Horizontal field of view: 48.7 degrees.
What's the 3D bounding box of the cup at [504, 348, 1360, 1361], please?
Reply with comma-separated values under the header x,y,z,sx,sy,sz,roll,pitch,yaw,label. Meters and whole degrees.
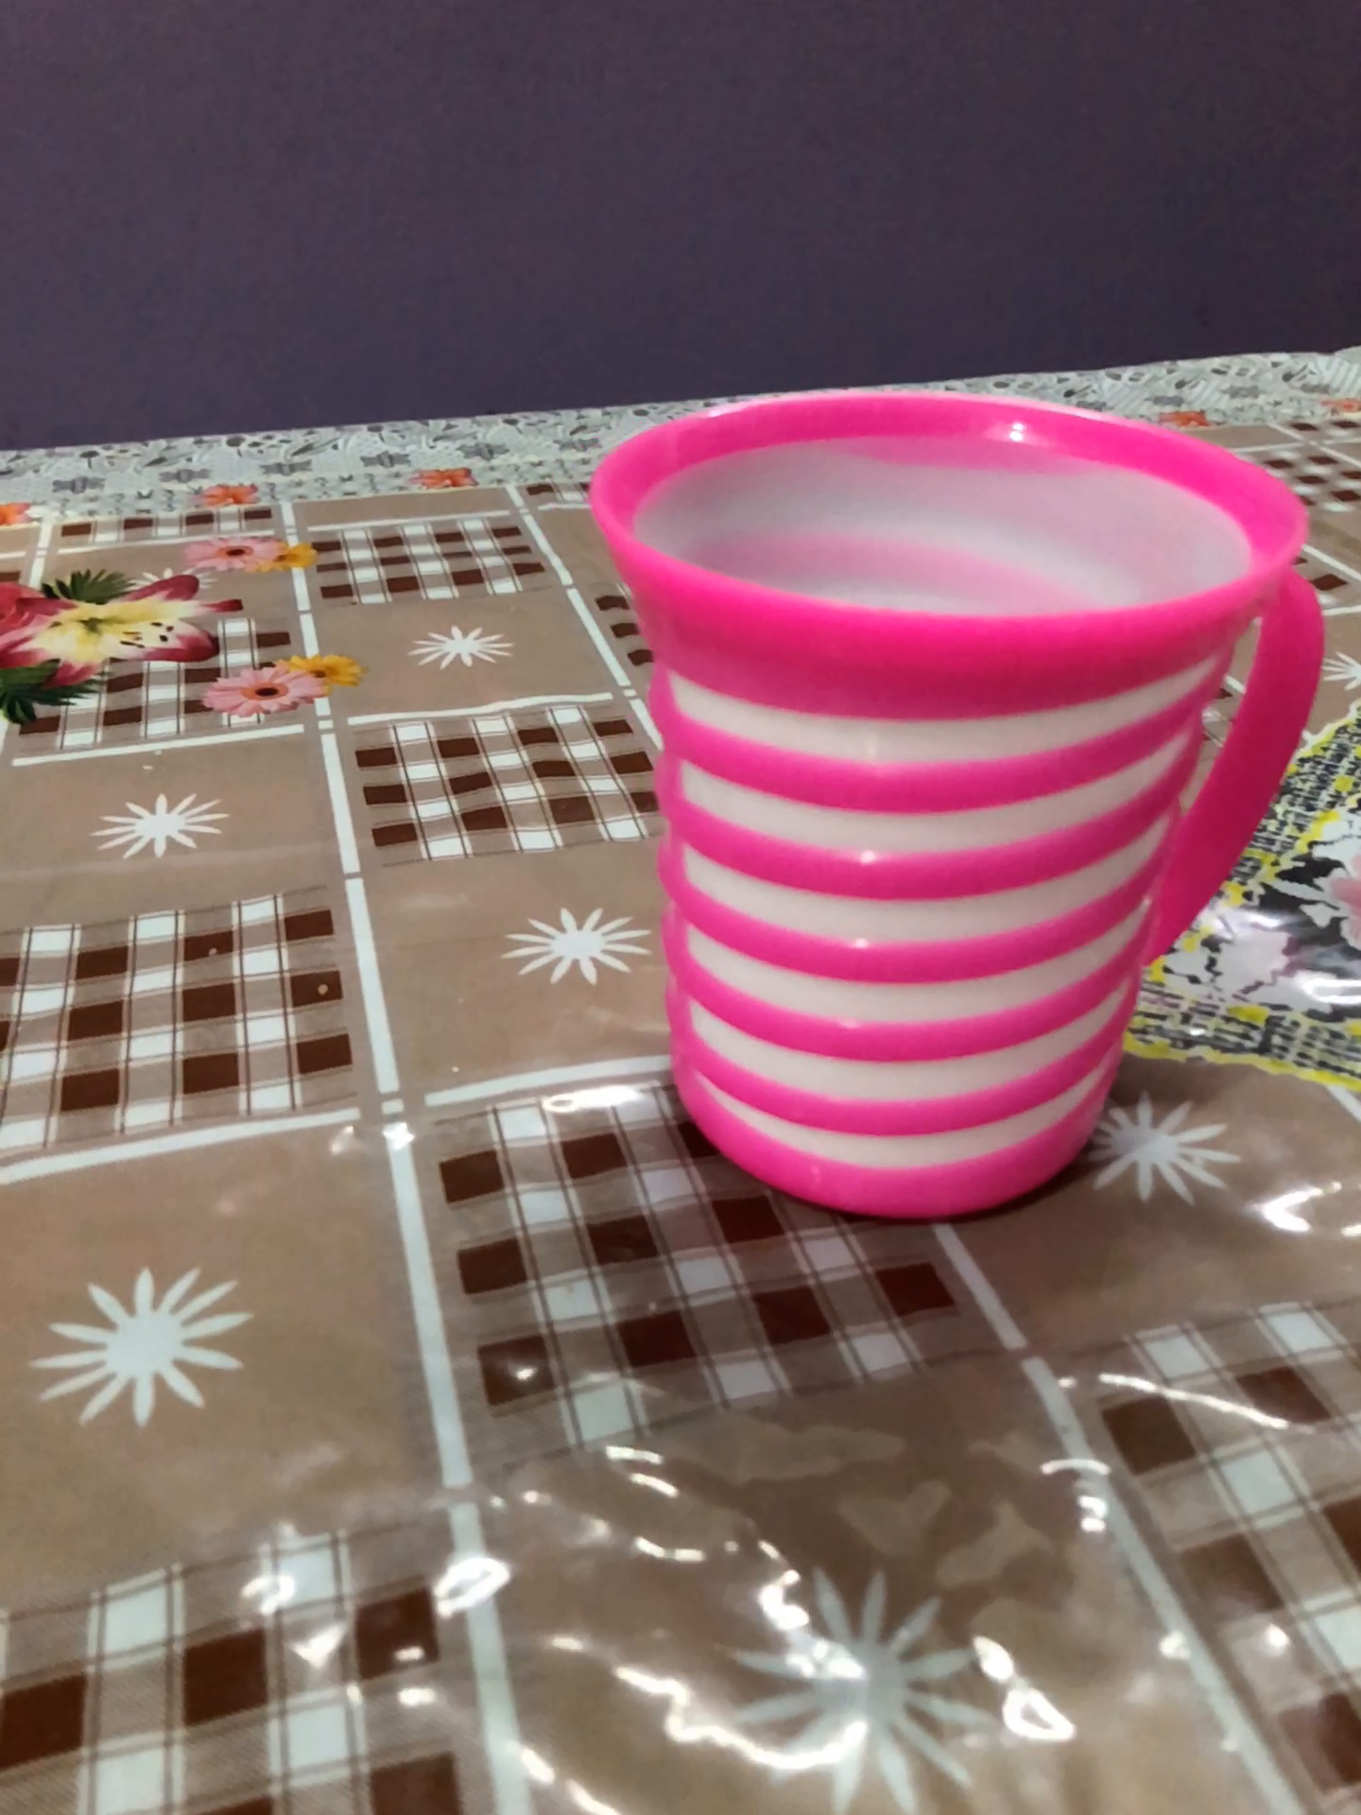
x,y,z,sx,sy,sz,roll,pitch,yaw,label
0.045,-0.017,0.208,0.110,0.089,0.080,-16,36,-24,cup
